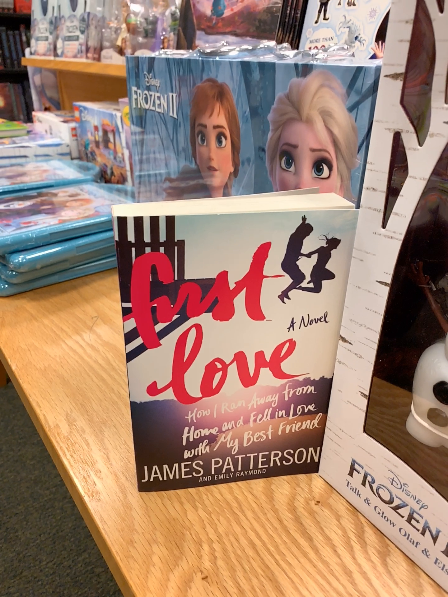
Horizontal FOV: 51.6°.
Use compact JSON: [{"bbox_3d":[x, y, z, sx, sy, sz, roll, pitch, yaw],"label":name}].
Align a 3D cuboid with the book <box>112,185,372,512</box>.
[{"bbox_3d":[0.006,0.035,0.314,0.142,0.205,0.059,-4,25,-12],"label":"book"}]
